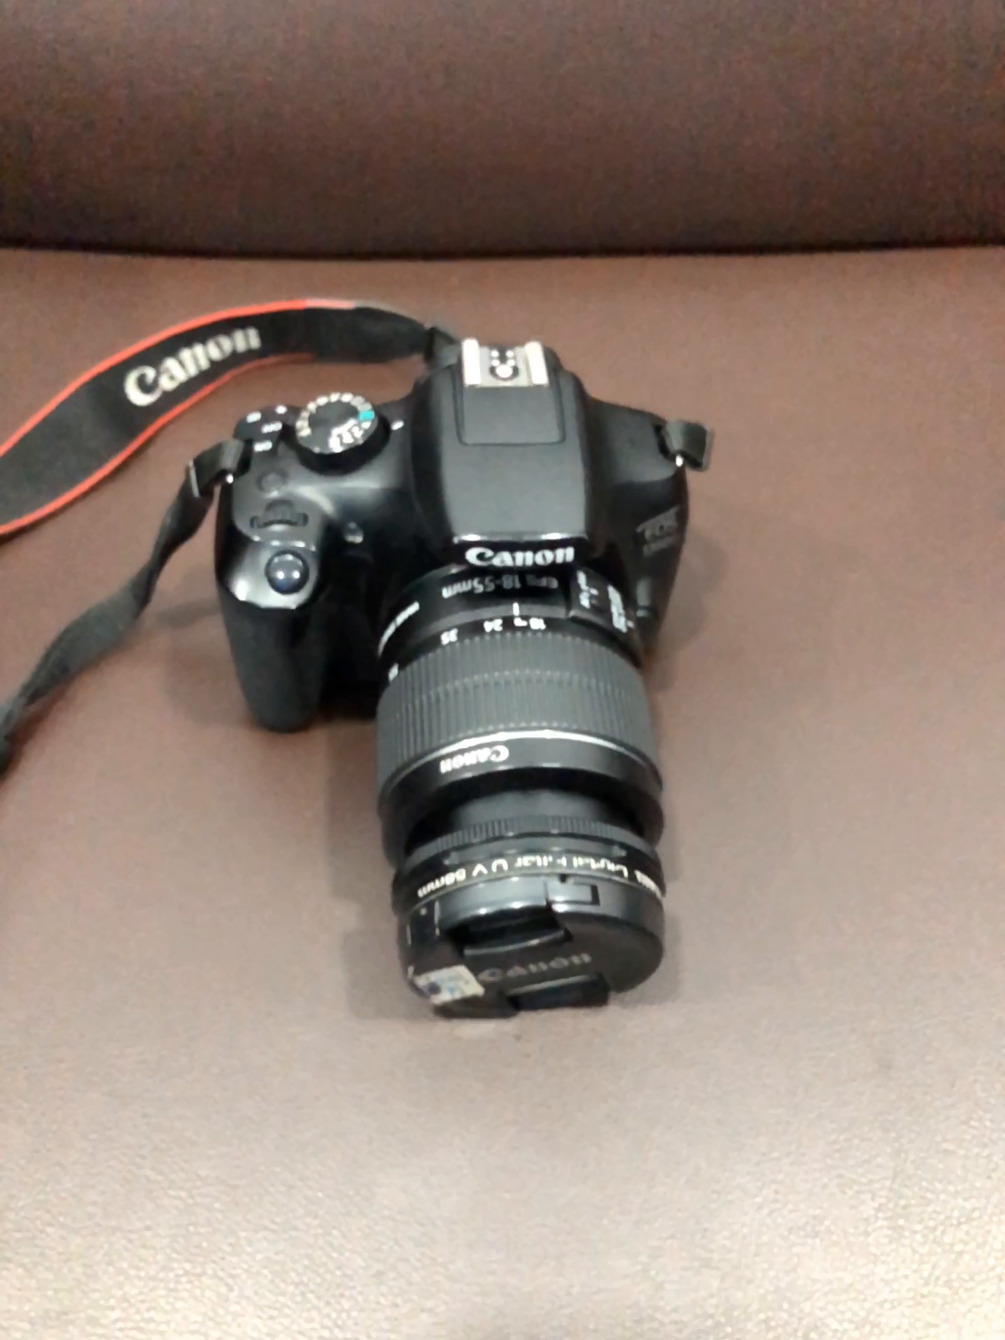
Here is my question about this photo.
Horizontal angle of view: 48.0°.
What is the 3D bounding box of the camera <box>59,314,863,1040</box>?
[{"bbox_3d":[-0.010,-0.002,0.261,0.130,0.090,0.141,-1,51,-2],"label":"camera"}]
